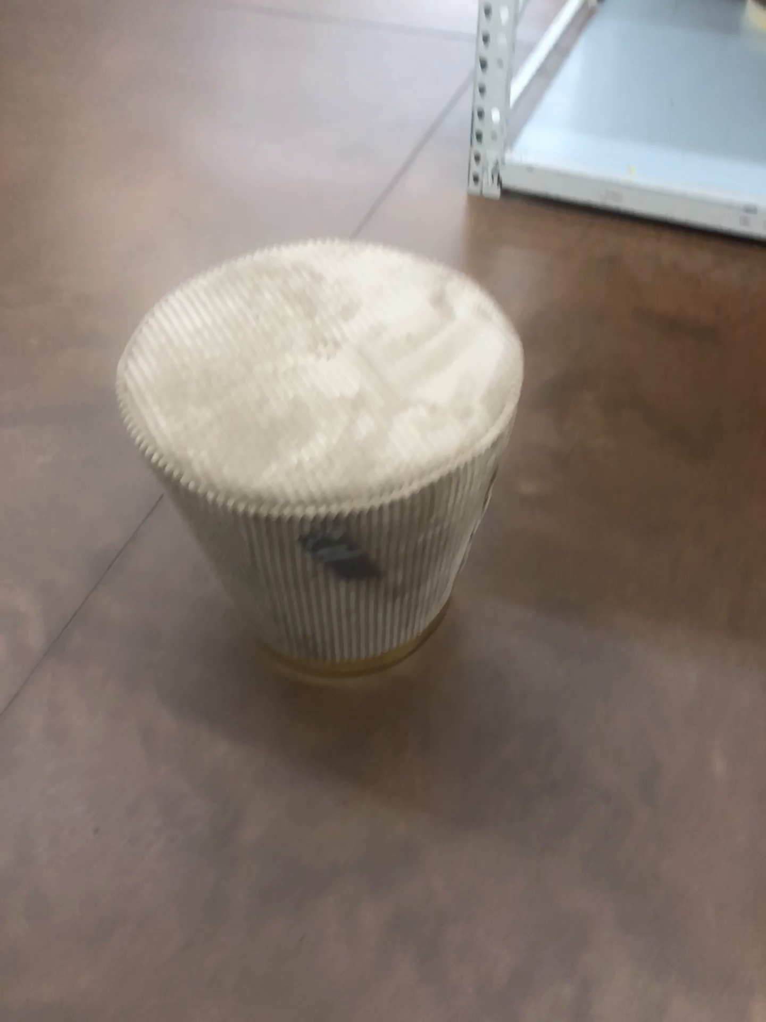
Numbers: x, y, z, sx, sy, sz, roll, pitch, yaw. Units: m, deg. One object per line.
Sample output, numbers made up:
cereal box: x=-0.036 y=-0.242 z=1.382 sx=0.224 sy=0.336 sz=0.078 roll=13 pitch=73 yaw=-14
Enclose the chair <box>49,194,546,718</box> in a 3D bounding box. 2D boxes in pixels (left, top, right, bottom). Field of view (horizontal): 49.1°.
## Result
chair: x=-0.052 y=-0.060 z=1.064 sx=0.450 sy=0.479 sz=0.421 roll=4 pitch=50 yaw=5
